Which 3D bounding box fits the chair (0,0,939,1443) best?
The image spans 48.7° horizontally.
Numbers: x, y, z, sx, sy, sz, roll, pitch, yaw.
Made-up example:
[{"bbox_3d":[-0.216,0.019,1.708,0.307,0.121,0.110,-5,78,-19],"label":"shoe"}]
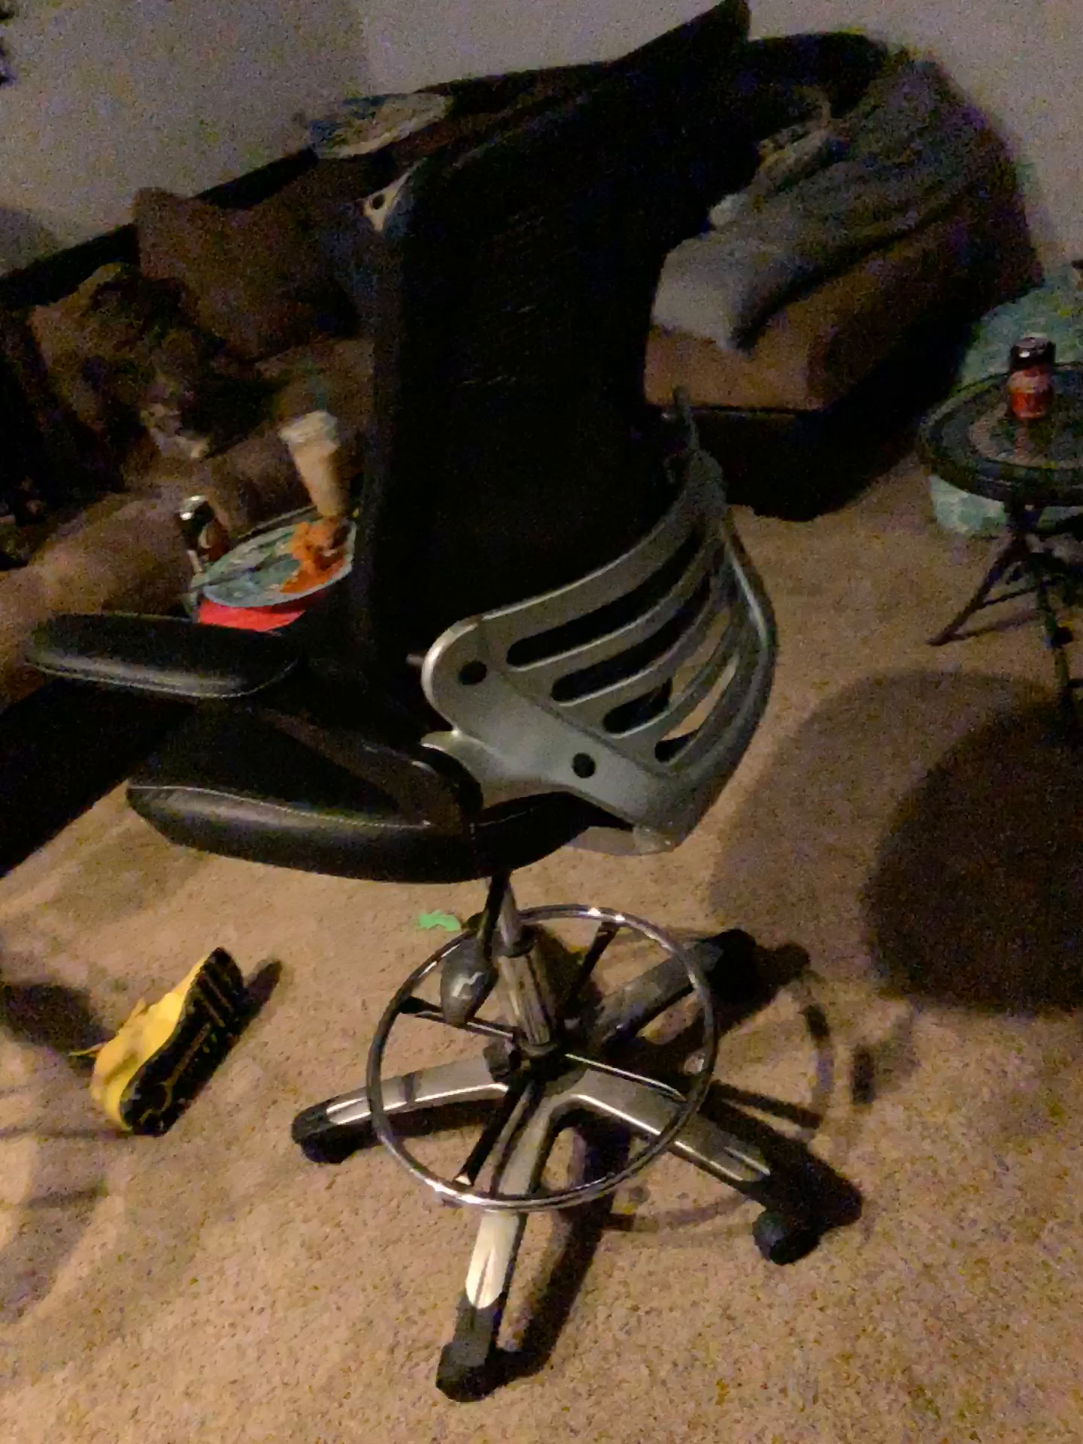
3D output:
[{"bbox_3d":[-0.078,0.017,1.144,0.700,1.120,0.780,8,41,29],"label":"chair"}]
